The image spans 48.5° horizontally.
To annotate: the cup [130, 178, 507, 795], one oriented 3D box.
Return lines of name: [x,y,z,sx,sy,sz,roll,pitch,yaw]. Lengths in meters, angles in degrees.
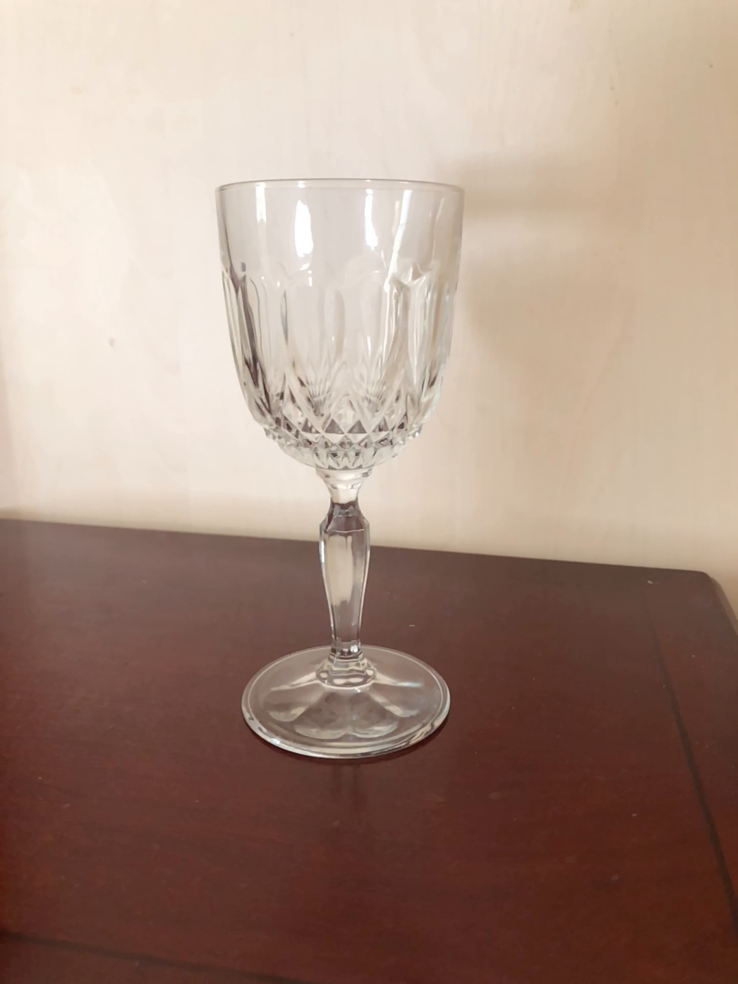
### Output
cup: [-0.008,-0.008,0.283,0.095,0.179,0.092,0,15,0]
